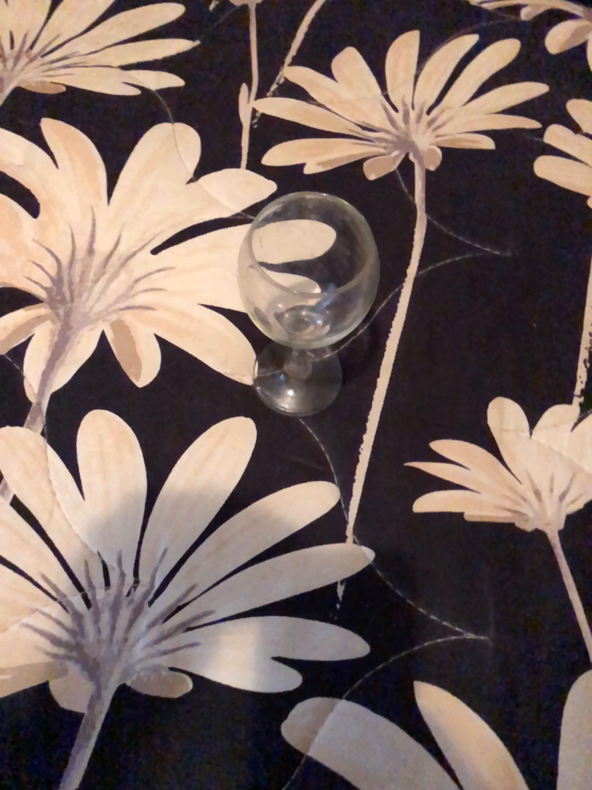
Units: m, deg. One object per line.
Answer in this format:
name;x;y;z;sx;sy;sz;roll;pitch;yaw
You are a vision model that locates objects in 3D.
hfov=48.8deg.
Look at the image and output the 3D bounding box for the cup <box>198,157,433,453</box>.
cup;0.008;-0.044;0.384;0.084;0.139;0.082;1;65;-2
